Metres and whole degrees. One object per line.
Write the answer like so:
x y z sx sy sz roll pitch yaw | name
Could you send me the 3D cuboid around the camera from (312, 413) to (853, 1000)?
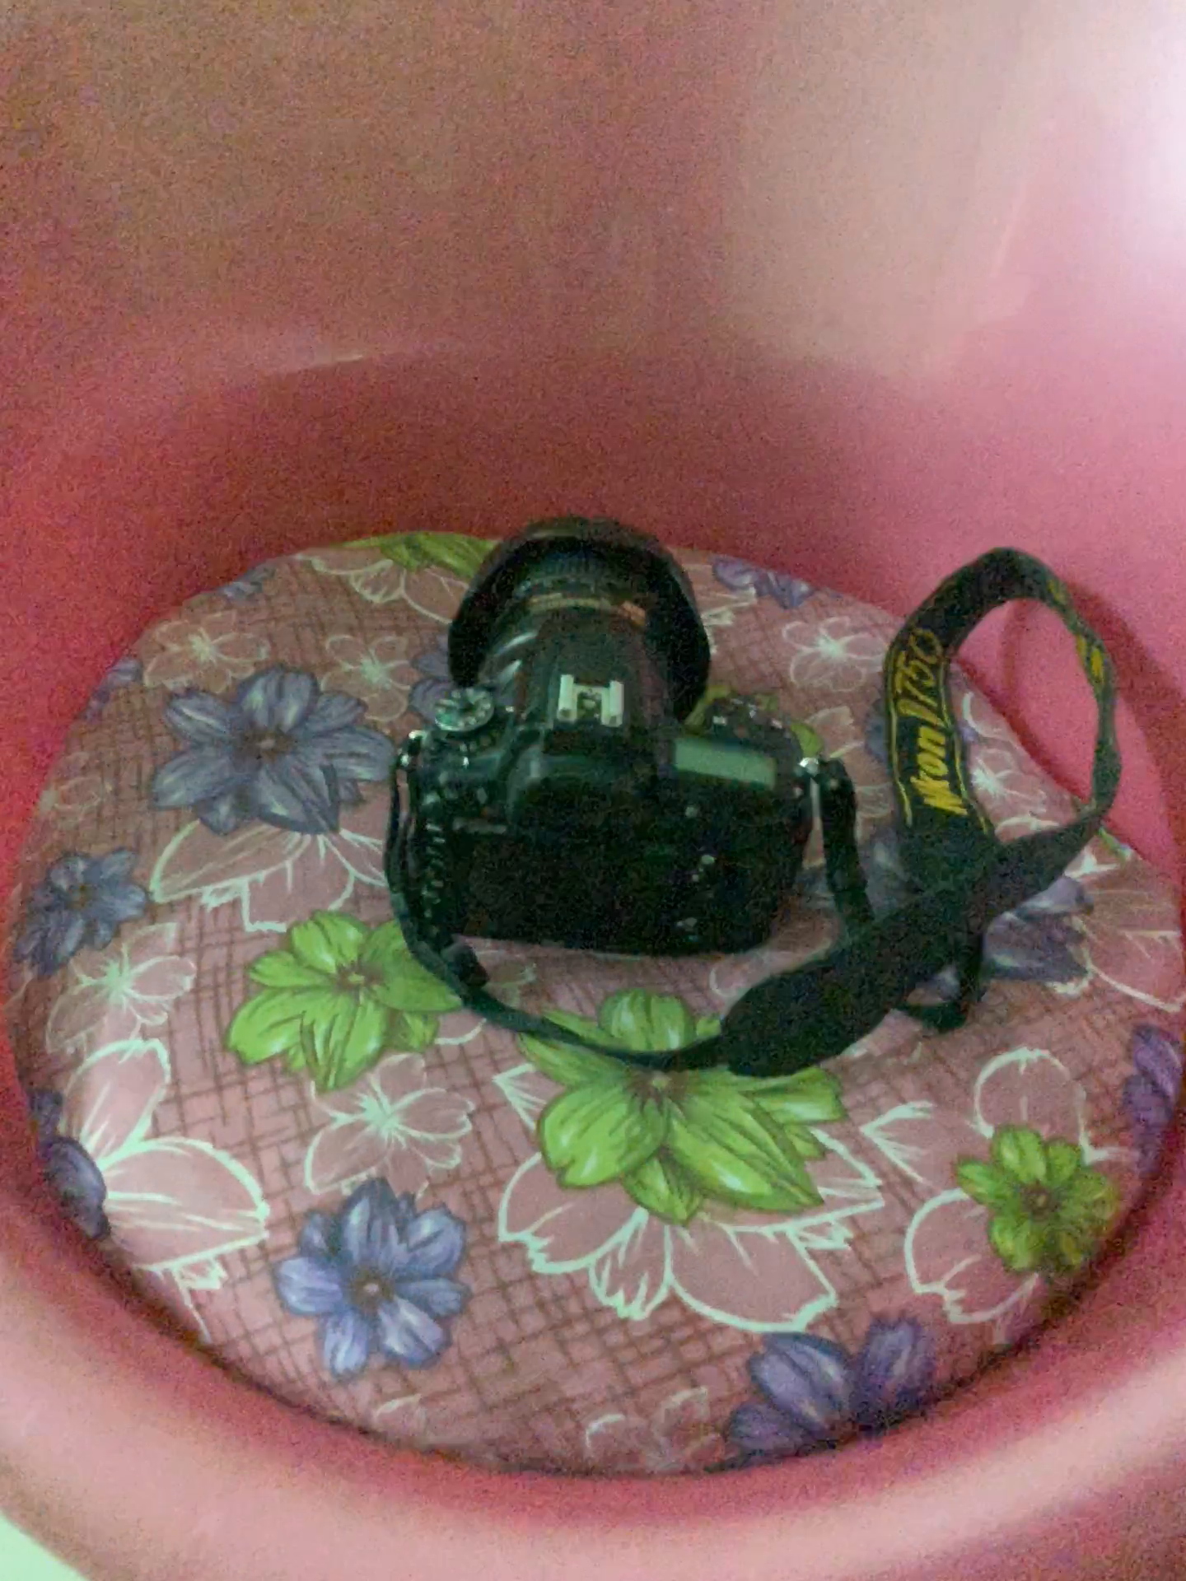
-0.001 -0.038 0.481 0.166 0.129 0.192 3 47 1 | camera
